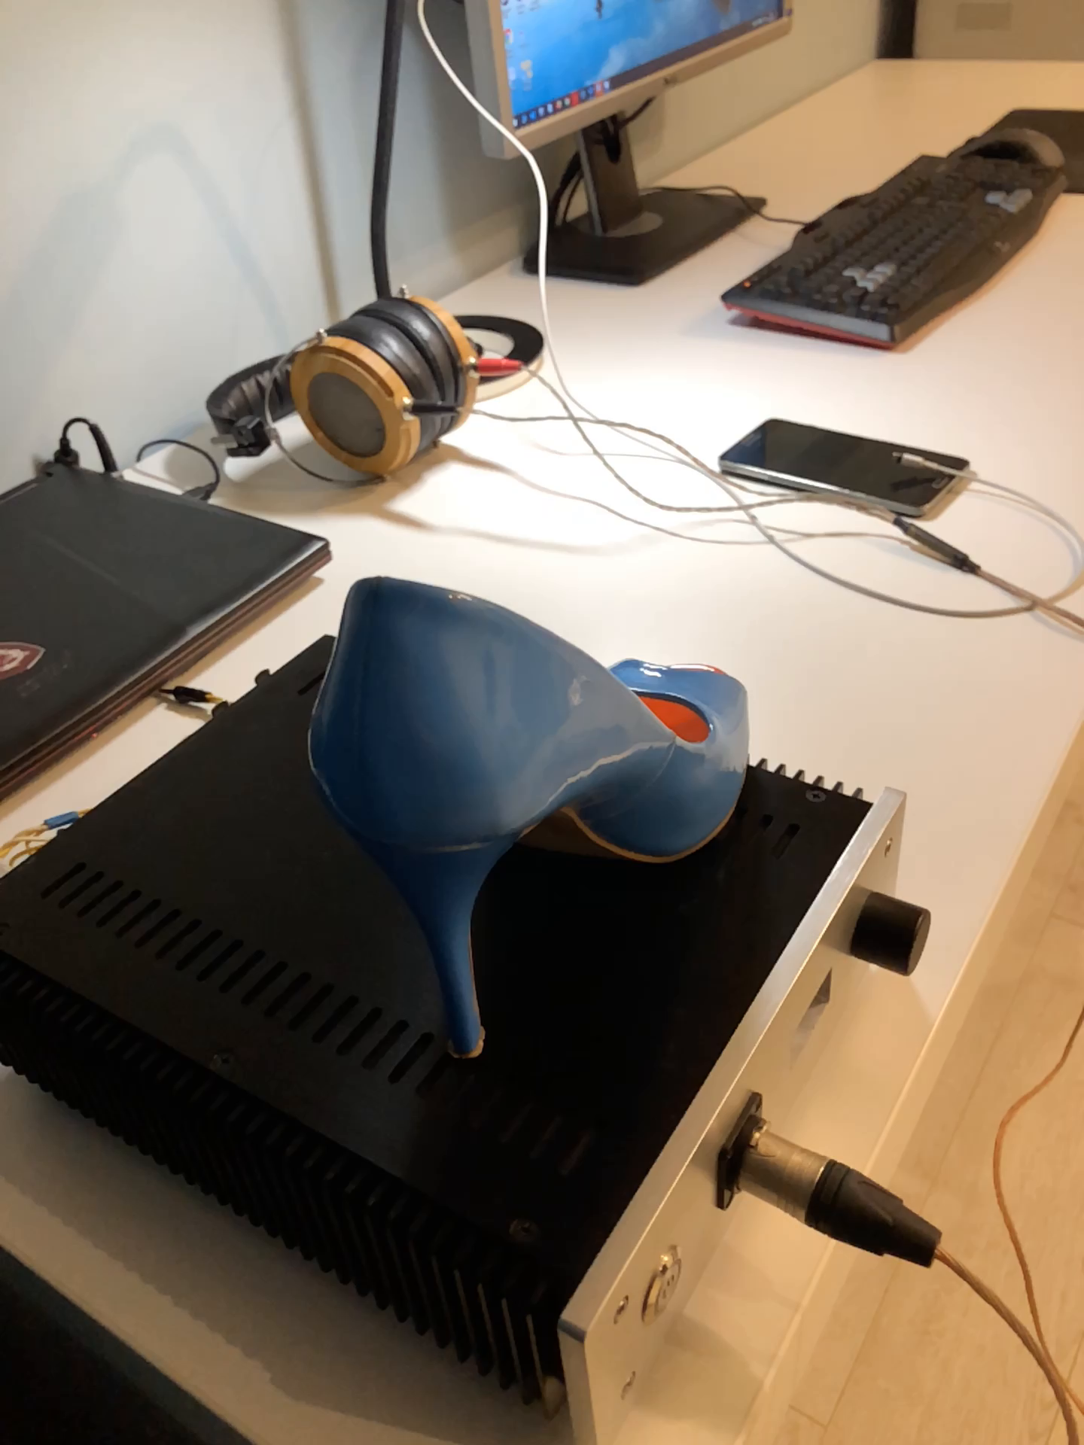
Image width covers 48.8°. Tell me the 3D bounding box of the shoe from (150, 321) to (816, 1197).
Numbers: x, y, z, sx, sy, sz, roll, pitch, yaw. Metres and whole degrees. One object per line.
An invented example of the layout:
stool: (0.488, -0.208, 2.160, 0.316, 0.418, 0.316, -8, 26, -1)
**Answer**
shoe: (0.007, -0.006, 0.363, 0.080, 0.149, 0.221, 14, 42, 24)
